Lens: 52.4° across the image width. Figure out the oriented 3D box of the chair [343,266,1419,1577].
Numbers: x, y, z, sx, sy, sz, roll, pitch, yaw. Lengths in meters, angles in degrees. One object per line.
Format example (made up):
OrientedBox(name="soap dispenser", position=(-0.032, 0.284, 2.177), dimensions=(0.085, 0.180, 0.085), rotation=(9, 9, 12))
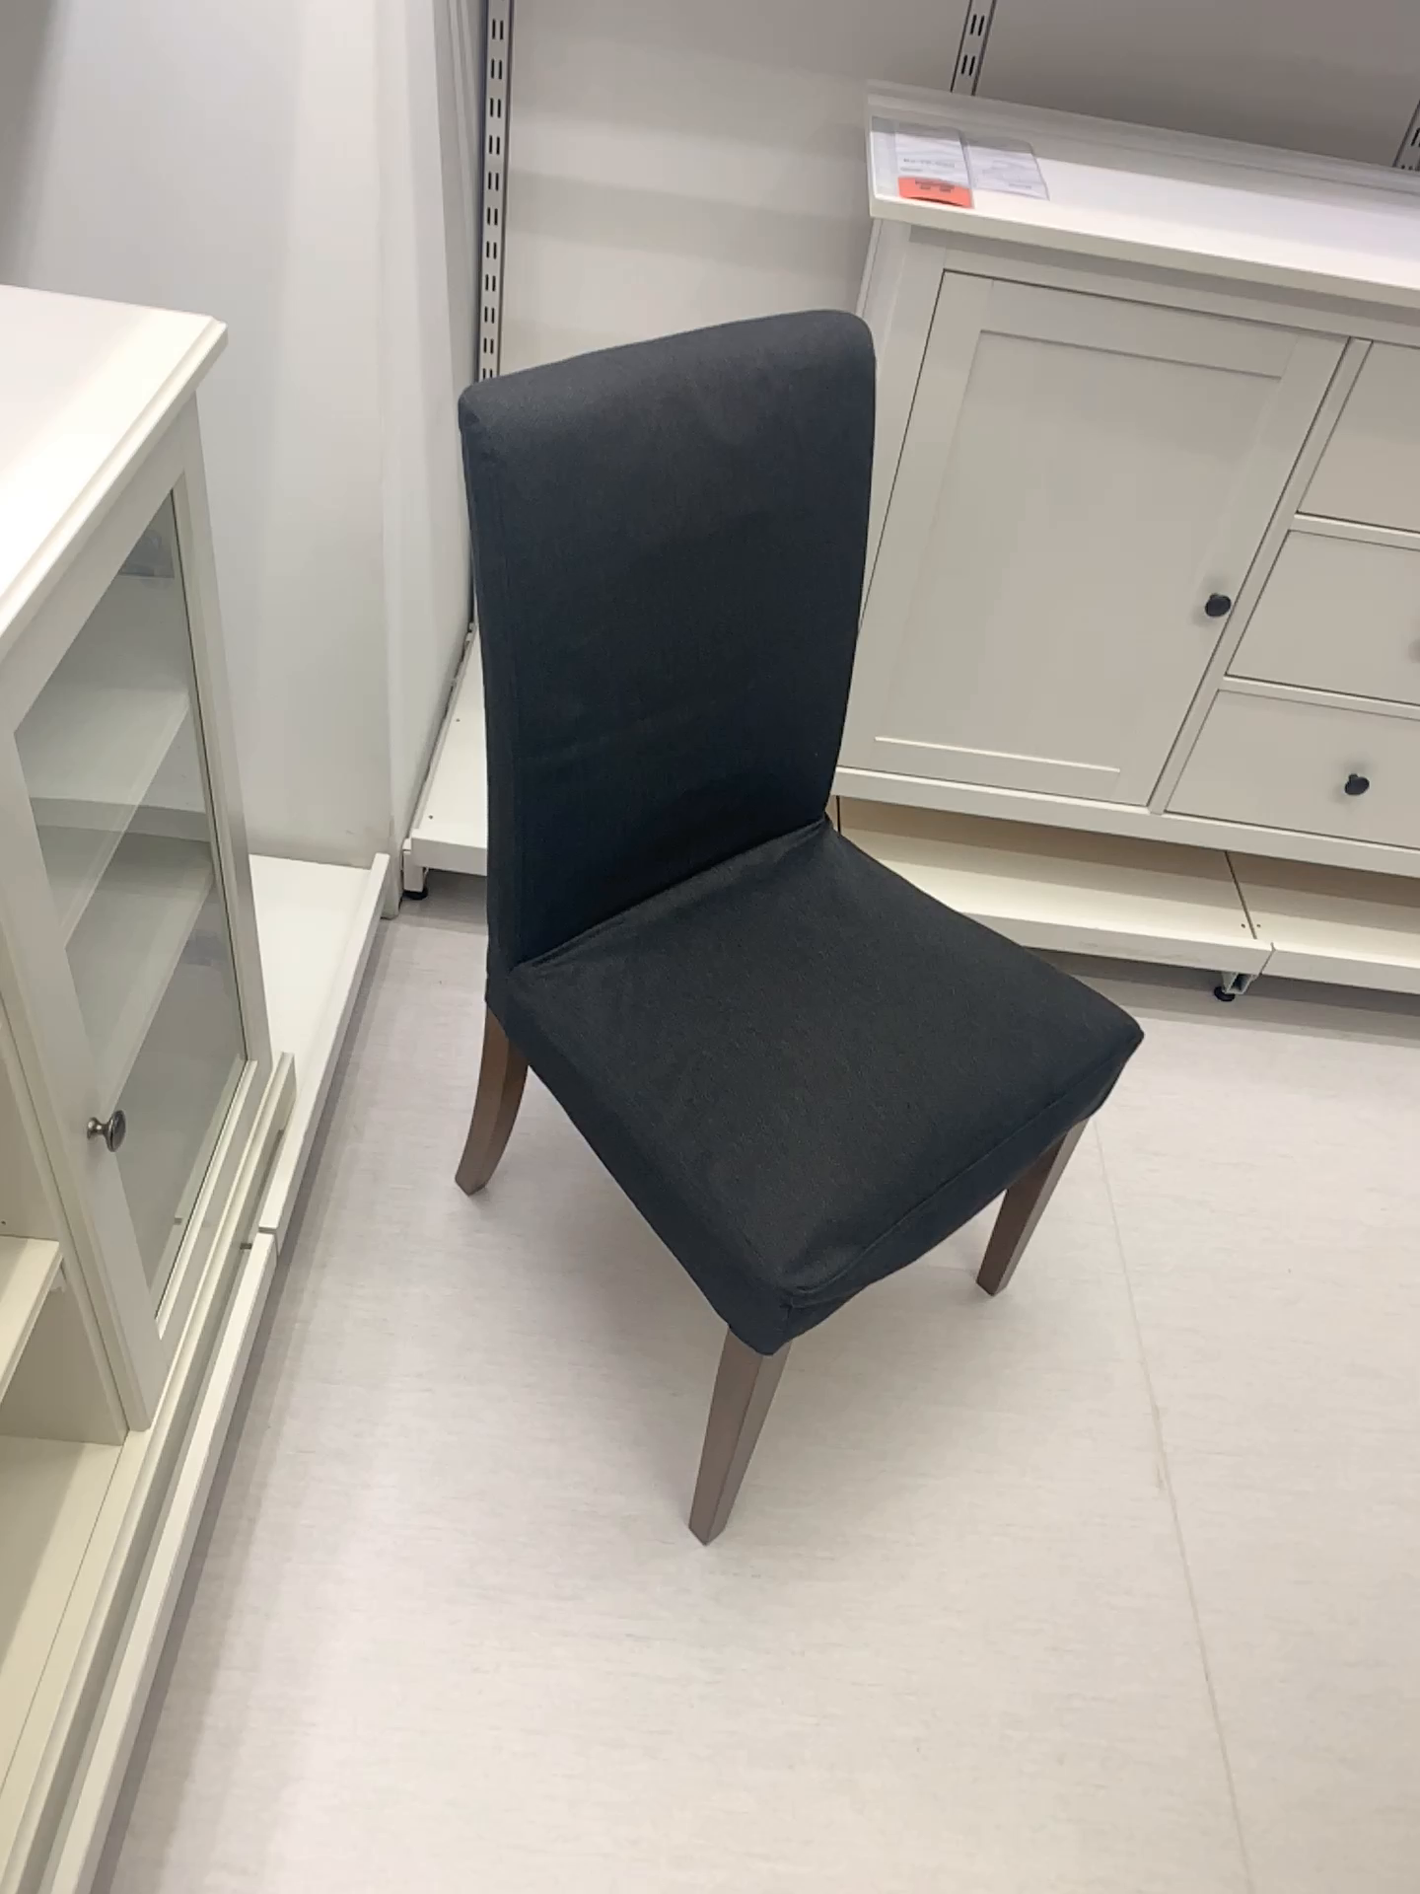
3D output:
OrientedBox(name="chair", position=(0.094, -0.027, 1.284), dimensions=(0.541, 0.837, 0.611), rotation=(-28, 55, -34))
